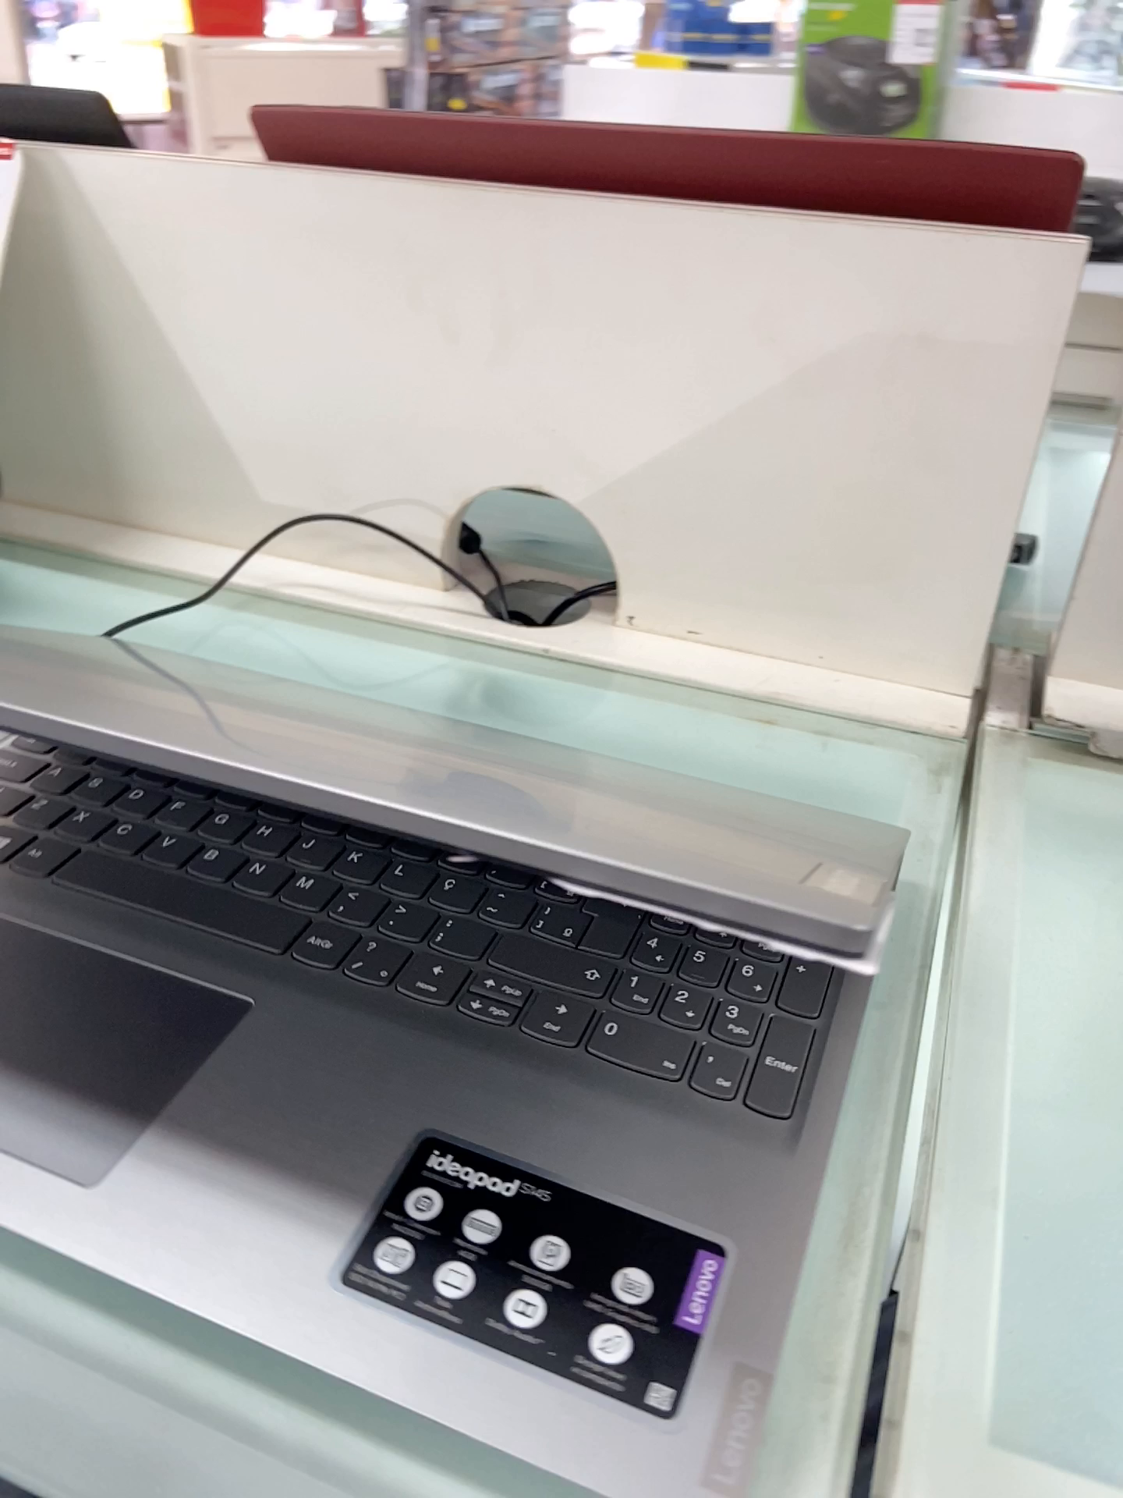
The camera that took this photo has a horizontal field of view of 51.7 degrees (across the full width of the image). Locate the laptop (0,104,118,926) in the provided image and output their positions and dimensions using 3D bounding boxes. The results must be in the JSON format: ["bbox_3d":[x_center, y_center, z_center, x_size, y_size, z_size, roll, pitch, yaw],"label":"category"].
[{"bbox_3d":[-0.527,-0.166,0.540,0.410,0.202,0.385,14,35,20],"label":"laptop"}]

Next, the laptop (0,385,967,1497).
[{"bbox_3d":[-0.089,0.005,0.355,0.363,0.127,0.251,13,34,18],"label":"laptop"}]
